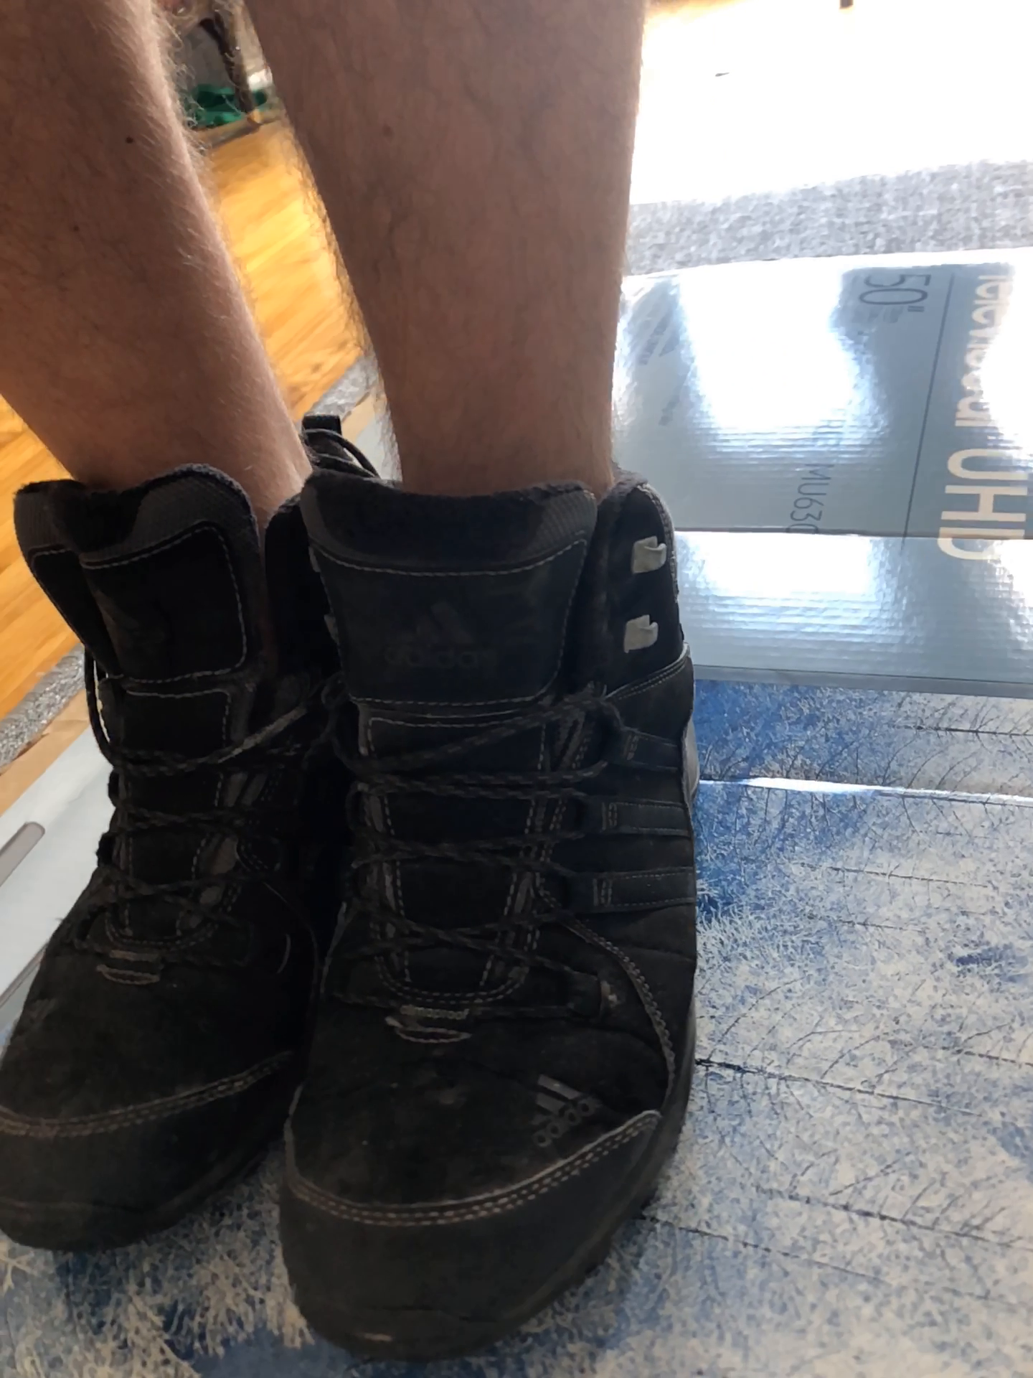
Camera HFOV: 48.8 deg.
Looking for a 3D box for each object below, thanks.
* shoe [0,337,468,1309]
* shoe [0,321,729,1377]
[{"bbox_3d":[-0.121,0.021,0.391,0.110,0.169,0.282,-3,37,17],"label":"shoe"},{"bbox_3d":[-0.008,0.030,0.345,0.110,0.169,0.282,-3,37,17],"label":"shoe"}]
